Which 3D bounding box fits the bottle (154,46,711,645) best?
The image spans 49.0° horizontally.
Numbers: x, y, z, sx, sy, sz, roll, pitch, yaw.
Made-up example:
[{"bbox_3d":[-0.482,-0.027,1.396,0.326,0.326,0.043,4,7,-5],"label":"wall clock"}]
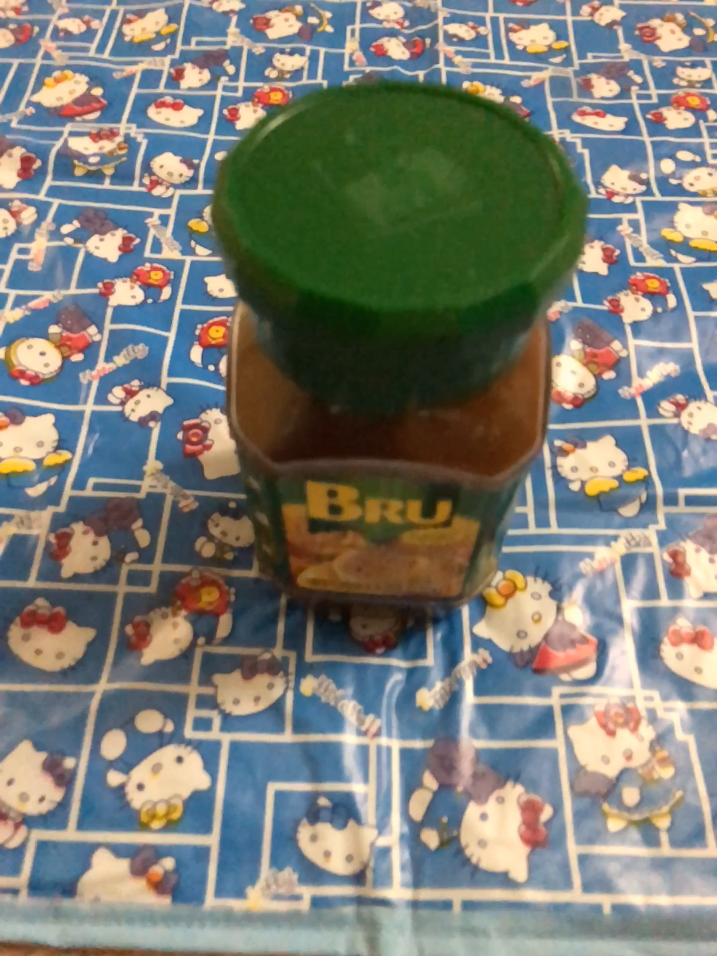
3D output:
[{"bbox_3d":[0.012,-0.019,0.182,0.080,0.120,0.070,4,59,2],"label":"bottle"}]
